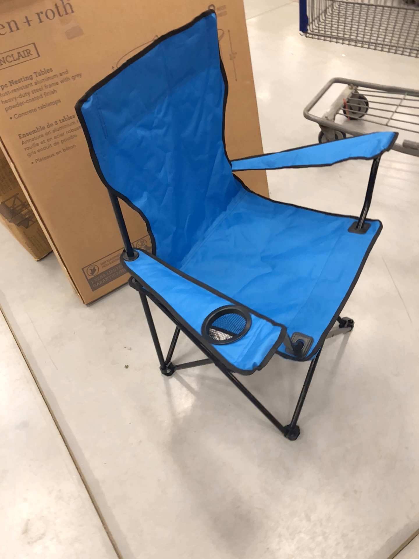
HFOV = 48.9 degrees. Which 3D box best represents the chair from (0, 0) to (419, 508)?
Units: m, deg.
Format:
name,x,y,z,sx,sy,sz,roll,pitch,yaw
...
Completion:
name,x,y,z,sx,sy,sz,roll,pitch,yaw
chair,0.084,-0.089,1.161,0.621,0.837,0.792,21,53,24
